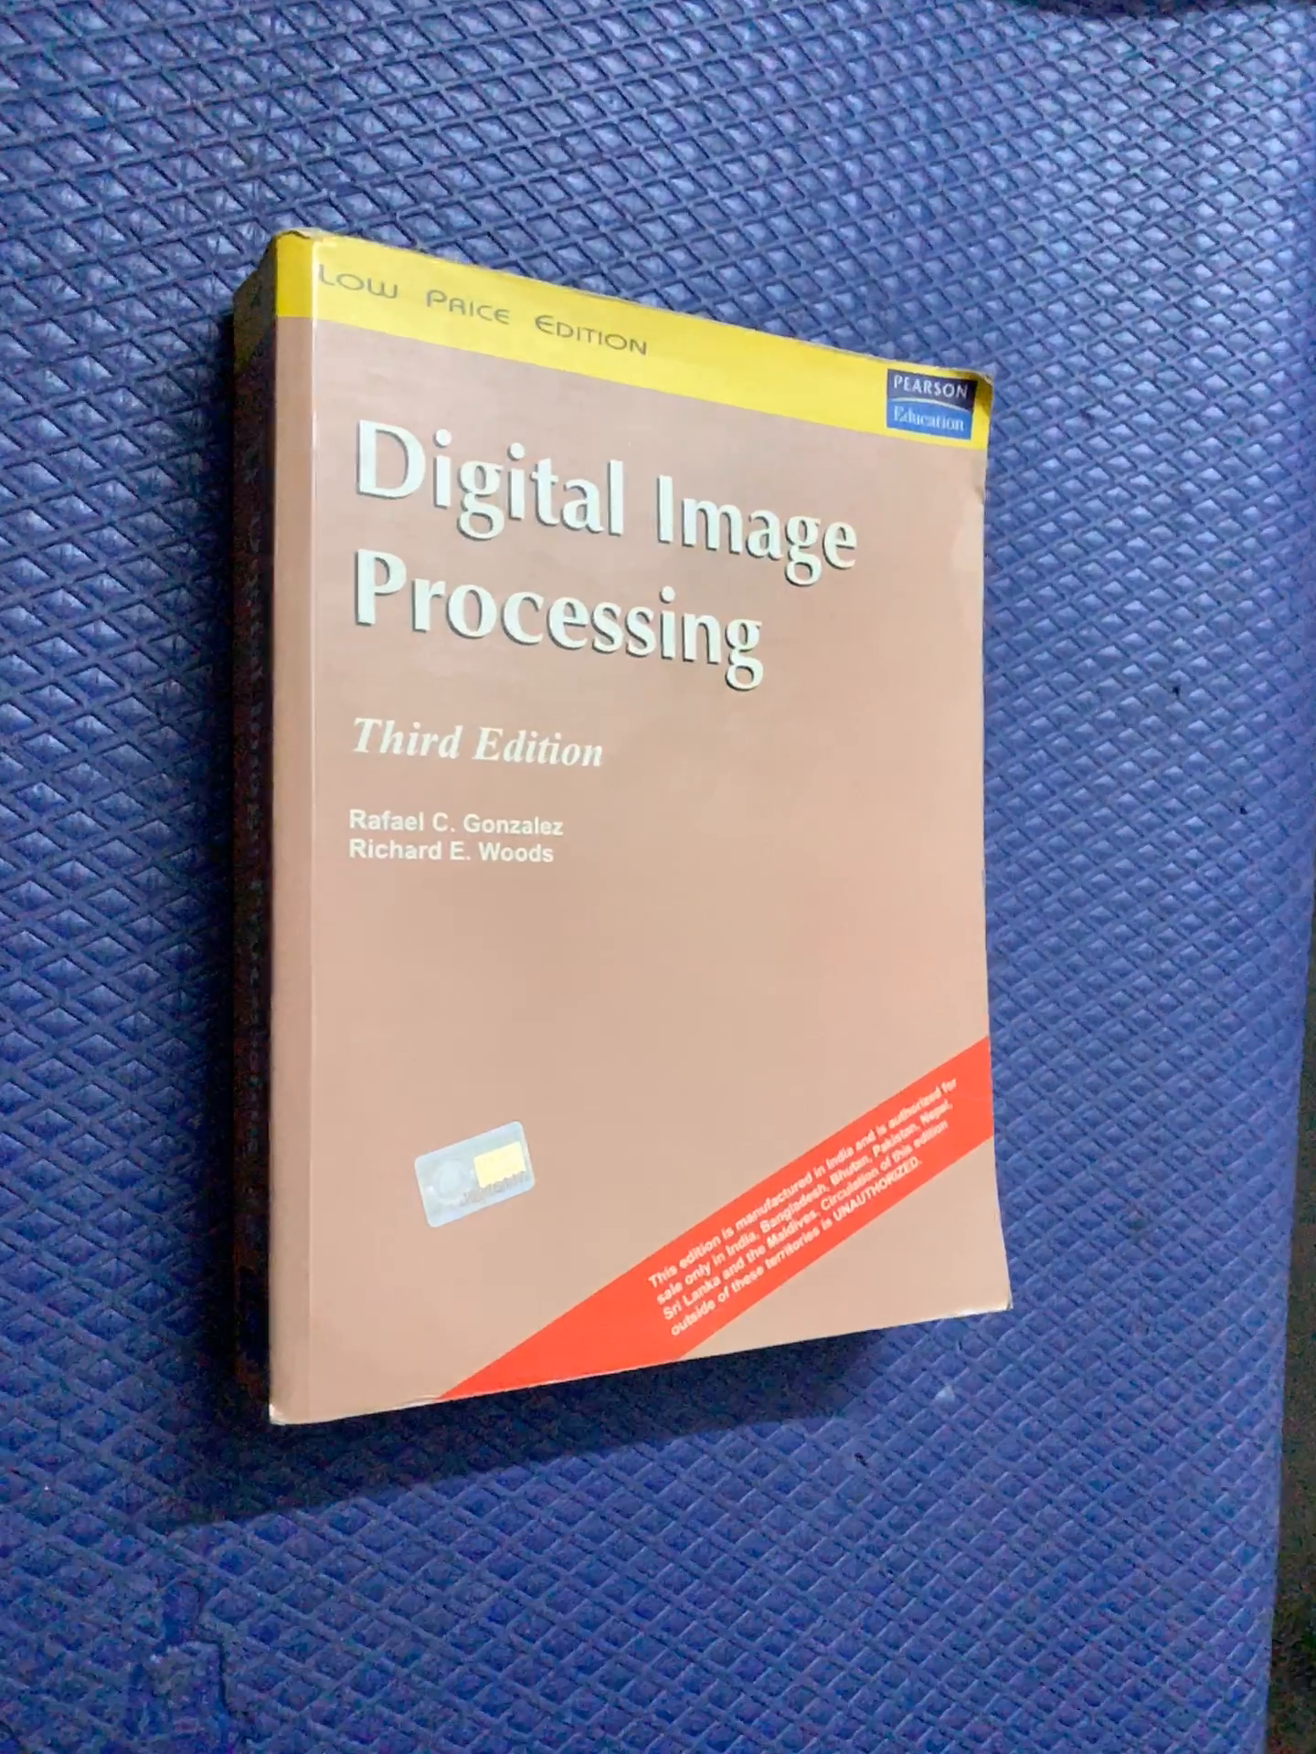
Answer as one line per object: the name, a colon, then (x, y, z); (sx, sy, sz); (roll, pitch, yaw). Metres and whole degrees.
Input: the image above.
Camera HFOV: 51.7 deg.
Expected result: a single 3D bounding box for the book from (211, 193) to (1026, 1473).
book: (-0.003, -0.008, 0.300); (0.175, 0.045, 0.225); (1, 85, -30)
